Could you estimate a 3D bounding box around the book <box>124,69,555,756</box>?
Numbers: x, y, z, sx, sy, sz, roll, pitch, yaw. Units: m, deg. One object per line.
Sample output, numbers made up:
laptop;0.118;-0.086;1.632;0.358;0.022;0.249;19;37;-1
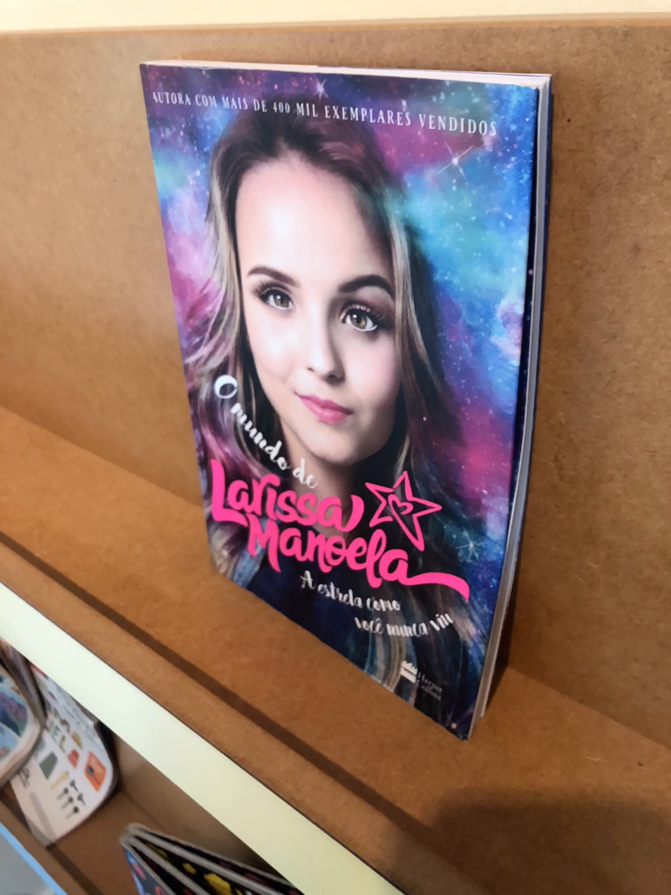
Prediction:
book;-0.005;-0.011;0.271;0.151;0.221;0.020;24;40;37
